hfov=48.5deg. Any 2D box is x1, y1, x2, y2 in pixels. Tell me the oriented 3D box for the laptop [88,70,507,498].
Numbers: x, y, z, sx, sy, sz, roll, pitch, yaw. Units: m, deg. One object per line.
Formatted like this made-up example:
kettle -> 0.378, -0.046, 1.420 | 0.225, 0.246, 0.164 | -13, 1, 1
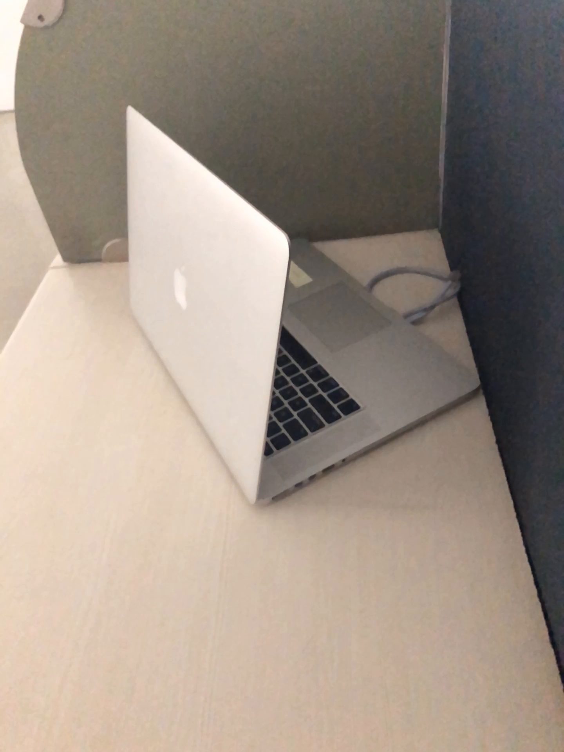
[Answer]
laptop -> 0.002, -0.115, 0.619 | 0.243, 0.233, 0.323 | -23, 43, -16
